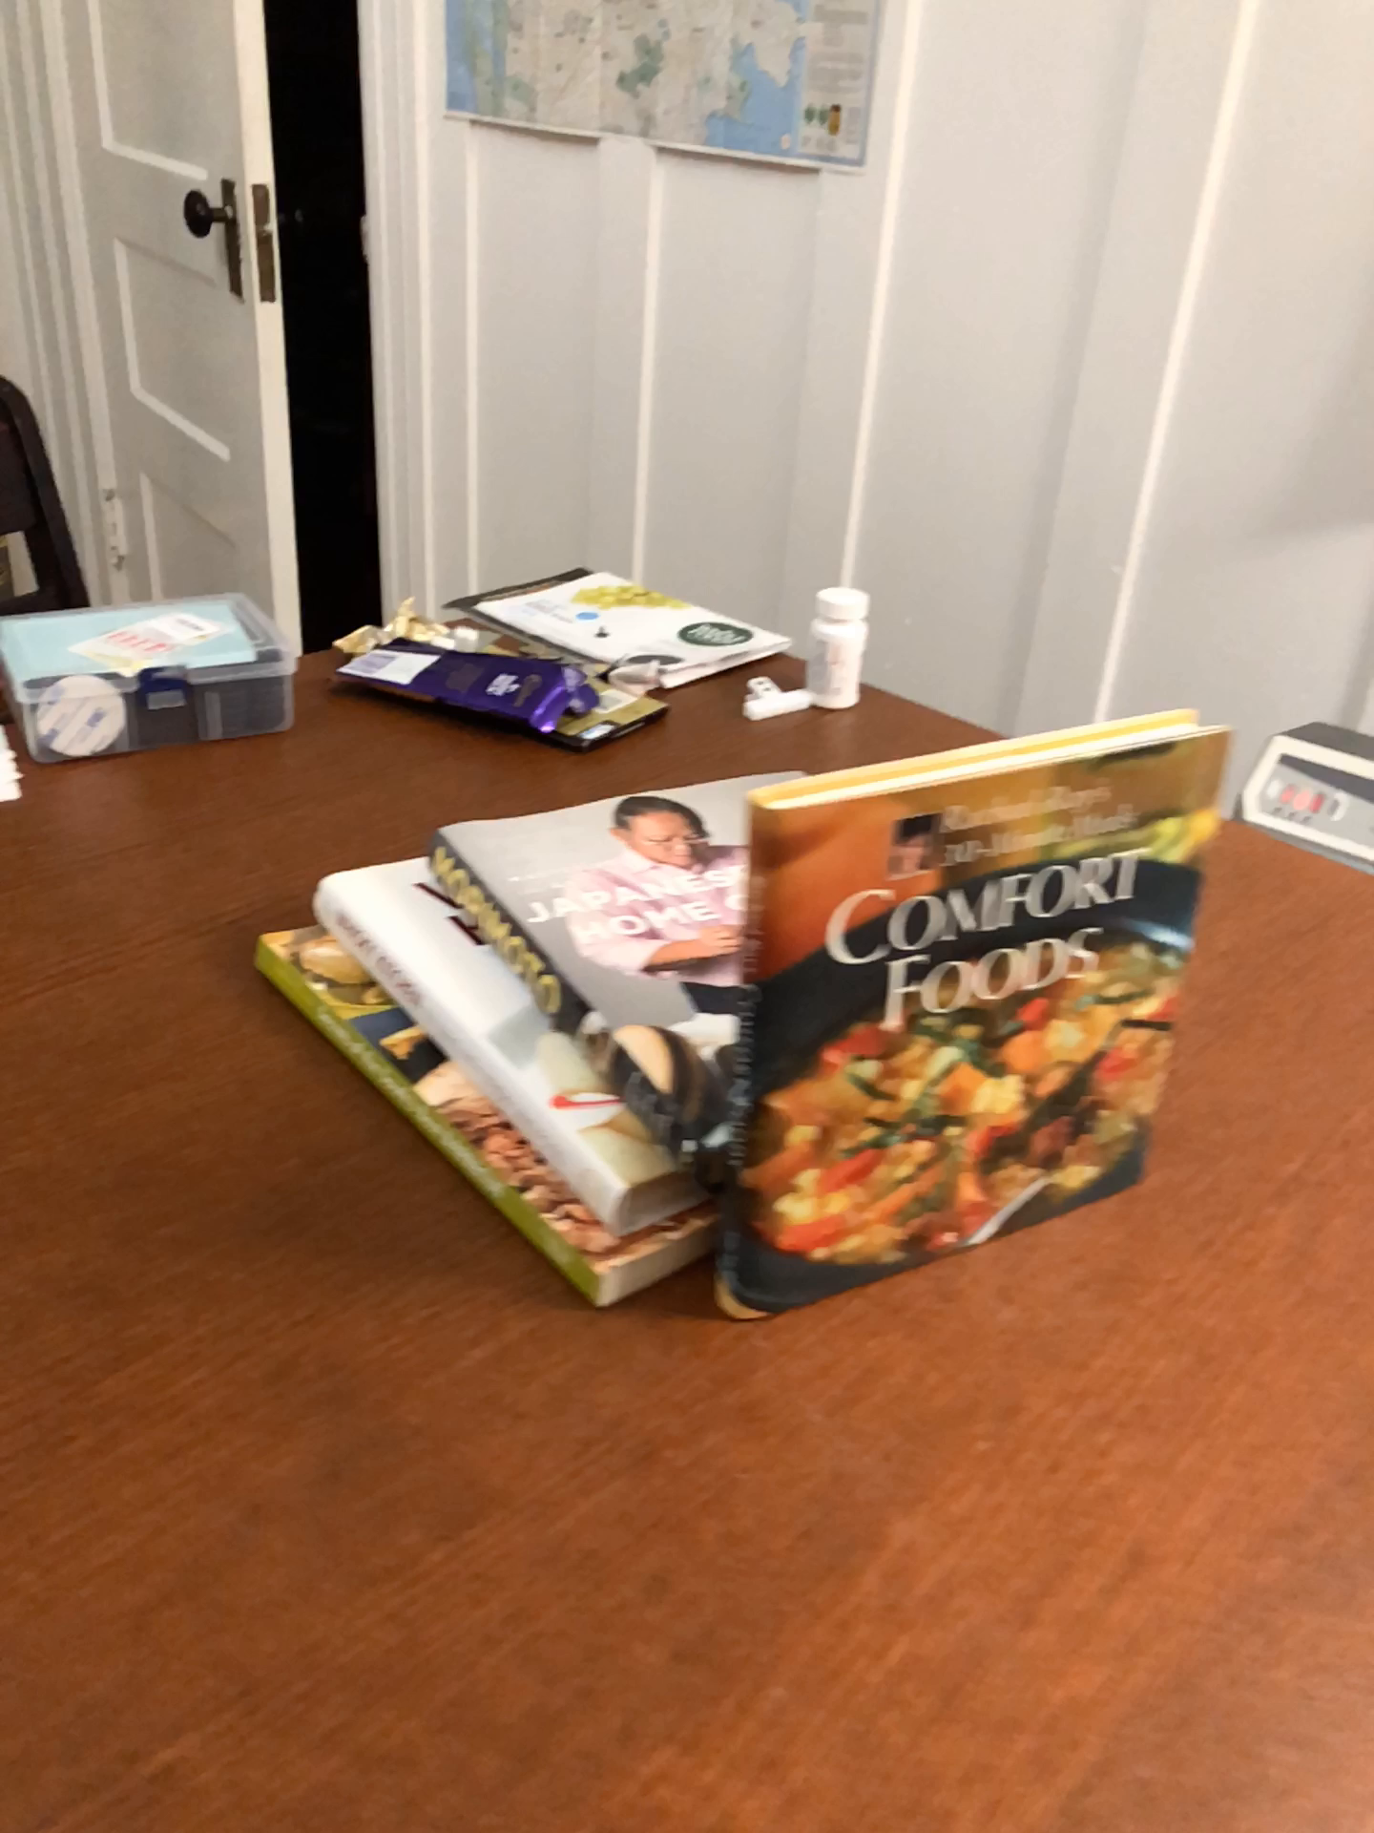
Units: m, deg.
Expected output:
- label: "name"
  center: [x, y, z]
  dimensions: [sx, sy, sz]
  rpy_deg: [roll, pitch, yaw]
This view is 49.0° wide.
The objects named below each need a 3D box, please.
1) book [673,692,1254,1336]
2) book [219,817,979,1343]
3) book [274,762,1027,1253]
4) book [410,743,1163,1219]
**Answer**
- label: "book"
  center: [0.100, 0.033, 0.557]
  dimensions: [0.210, 0.209, 0.030]
  rpy_deg: [-11, 30, -28]
- label: "book"
  center: [-0.048, 0.049, 0.688]
  dimensions: [0.221, 0.030, 0.281]
  rpy_deg: [-19, 38, -35]
- label: "book"
  center: [-0.026, 0.018, 0.690]
  dimensions: [0.221, 0.030, 0.281]
  rpy_deg: [-17, 37, -33]
- label: "book"
  center: [0.032, 0.006, 0.687]
  dimensions: [0.220, 0.030, 0.281]
  rpy_deg: [-14, 35, -29]
